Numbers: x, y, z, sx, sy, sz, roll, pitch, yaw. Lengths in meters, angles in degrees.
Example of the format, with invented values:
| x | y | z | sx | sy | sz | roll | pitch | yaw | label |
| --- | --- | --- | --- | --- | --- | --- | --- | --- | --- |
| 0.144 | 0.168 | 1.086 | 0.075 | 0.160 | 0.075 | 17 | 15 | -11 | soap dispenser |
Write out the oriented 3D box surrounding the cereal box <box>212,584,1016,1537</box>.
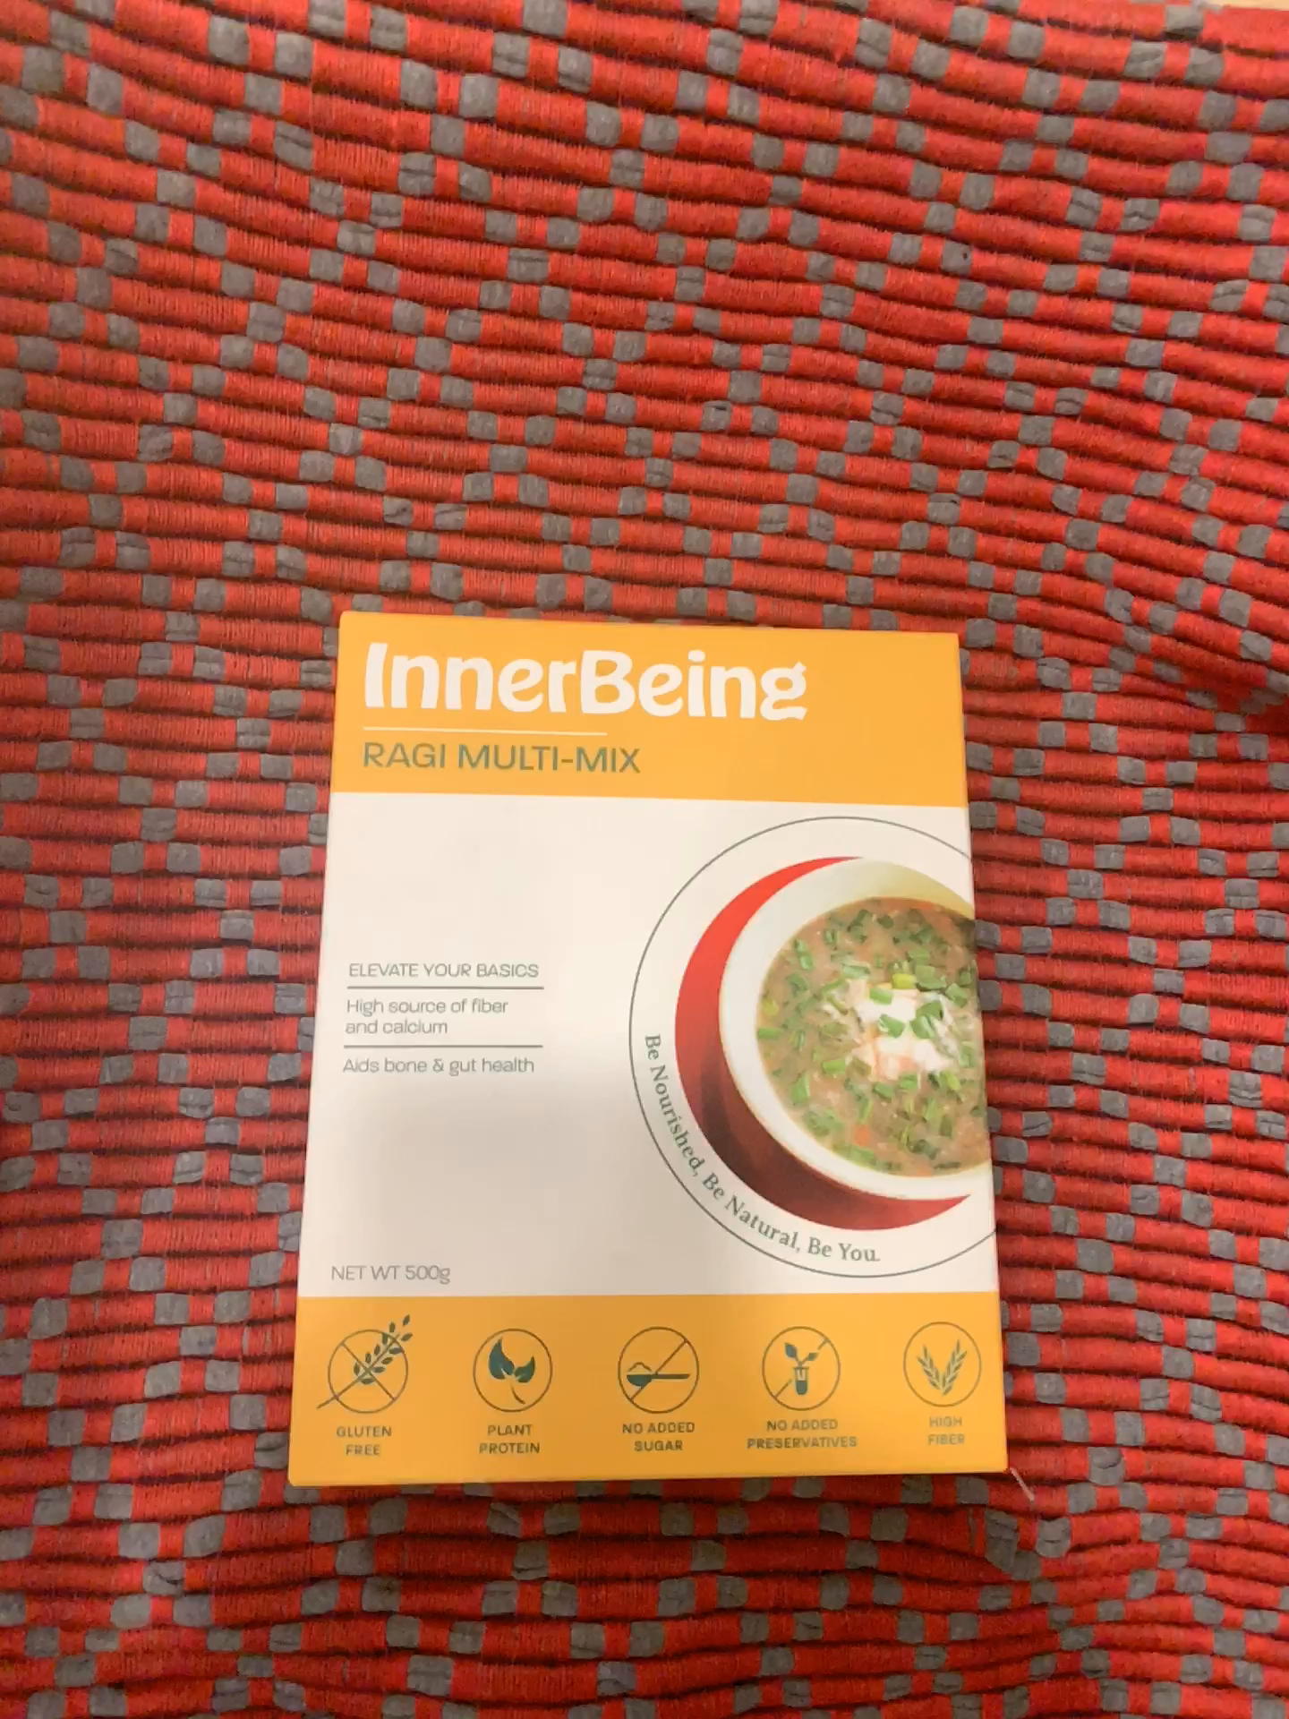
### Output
| x | y | z | sx | sy | sz | roll | pitch | yaw | label |
| --- | --- | --- | --- | --- | --- | --- | --- | --- | --- |
| -0.007 | 0.042 | 0.305 | 0.150 | 0.070 | 0.190 | 1 | 75 | -5 | cereal box |
